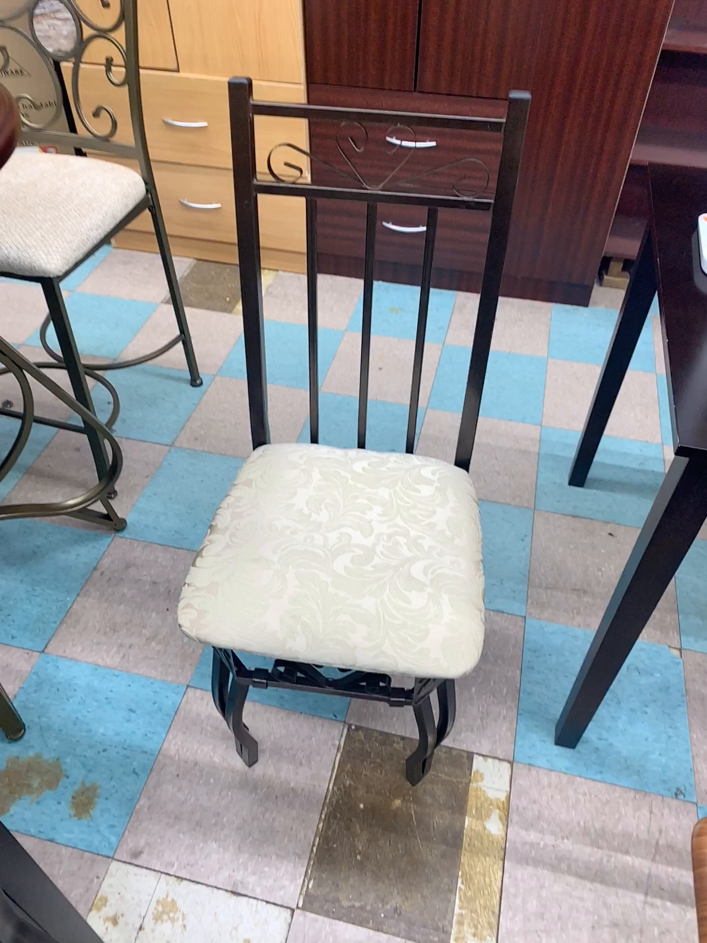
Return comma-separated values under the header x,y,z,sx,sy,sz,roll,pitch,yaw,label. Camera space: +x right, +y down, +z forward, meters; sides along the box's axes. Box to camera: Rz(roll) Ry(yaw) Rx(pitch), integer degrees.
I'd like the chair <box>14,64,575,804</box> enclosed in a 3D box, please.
x,y,z,sx,sy,sz,roll,pitch,yaw,label
-0.019,0.027,1.027,0.415,0.951,0.478,6,46,5,chair
